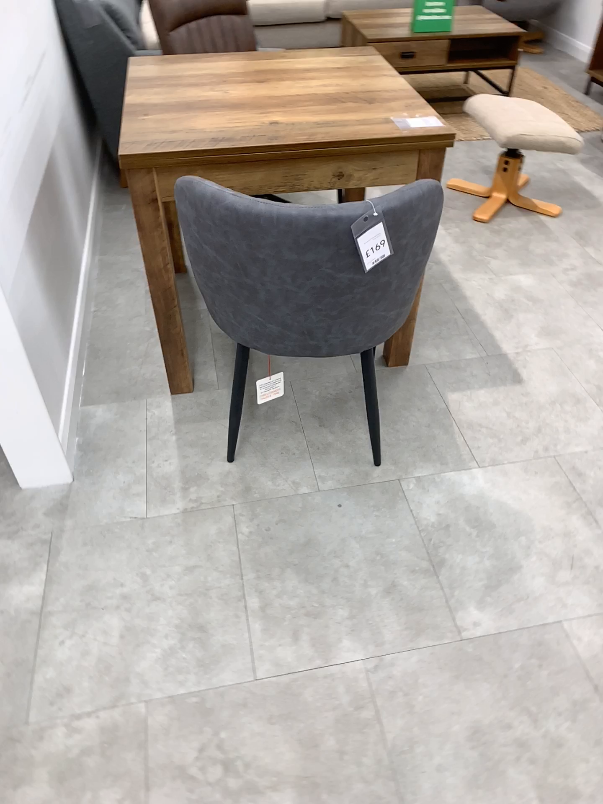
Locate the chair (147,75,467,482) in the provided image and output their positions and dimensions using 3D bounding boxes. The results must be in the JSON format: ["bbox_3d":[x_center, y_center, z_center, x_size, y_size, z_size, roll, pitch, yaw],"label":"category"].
[{"bbox_3d":[0.008,-0.278,1.476,0.527,0.775,0.555,-1,43,0],"label":"chair"}]
